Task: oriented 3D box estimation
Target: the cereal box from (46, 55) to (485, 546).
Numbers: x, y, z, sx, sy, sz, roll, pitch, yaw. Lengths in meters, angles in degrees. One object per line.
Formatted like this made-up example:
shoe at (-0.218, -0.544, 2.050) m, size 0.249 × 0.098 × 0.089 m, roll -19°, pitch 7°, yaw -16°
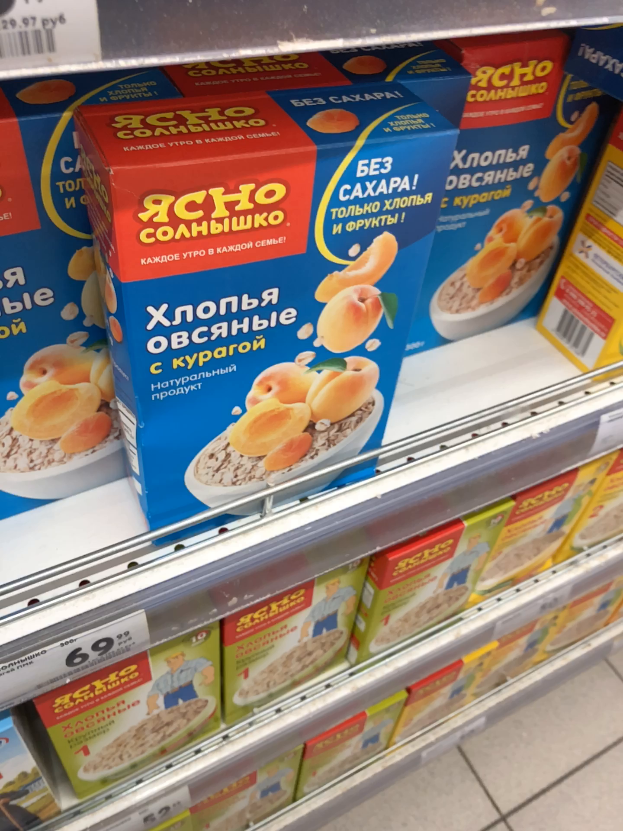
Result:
cereal box at (-0.021, -0.042, 0.324) m, size 0.150 × 0.209 × 0.050 m, roll -16°, pitch 49°, yaw -21°
